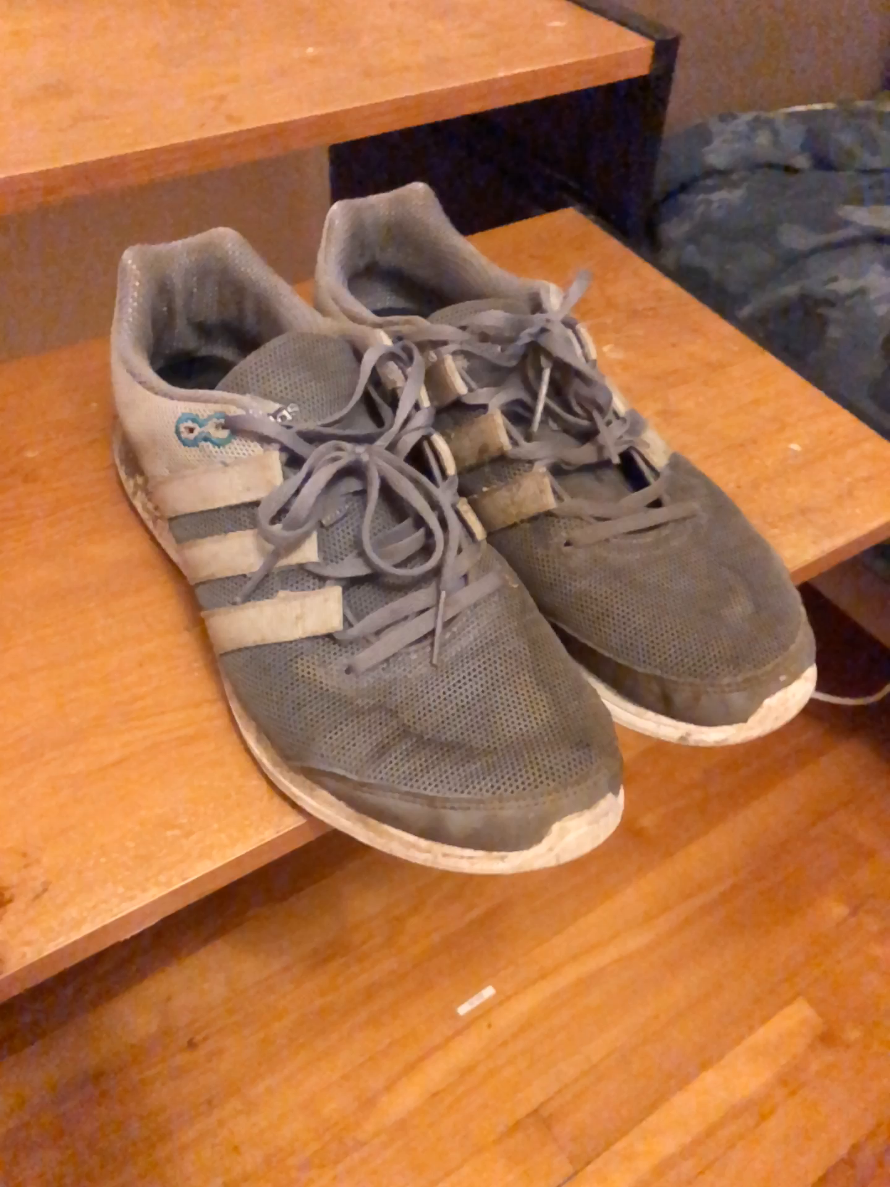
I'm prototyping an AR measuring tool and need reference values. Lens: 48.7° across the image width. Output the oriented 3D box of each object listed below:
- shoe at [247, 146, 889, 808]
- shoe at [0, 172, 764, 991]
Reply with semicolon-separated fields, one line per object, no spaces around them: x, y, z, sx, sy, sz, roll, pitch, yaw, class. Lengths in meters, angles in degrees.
0.045;-0.068;0.383;0.120;0.089;0.271;-26;53;-25;shoe
-0.053;-0.035;0.343;0.110;0.089;0.301;-27;53;-26;shoe
